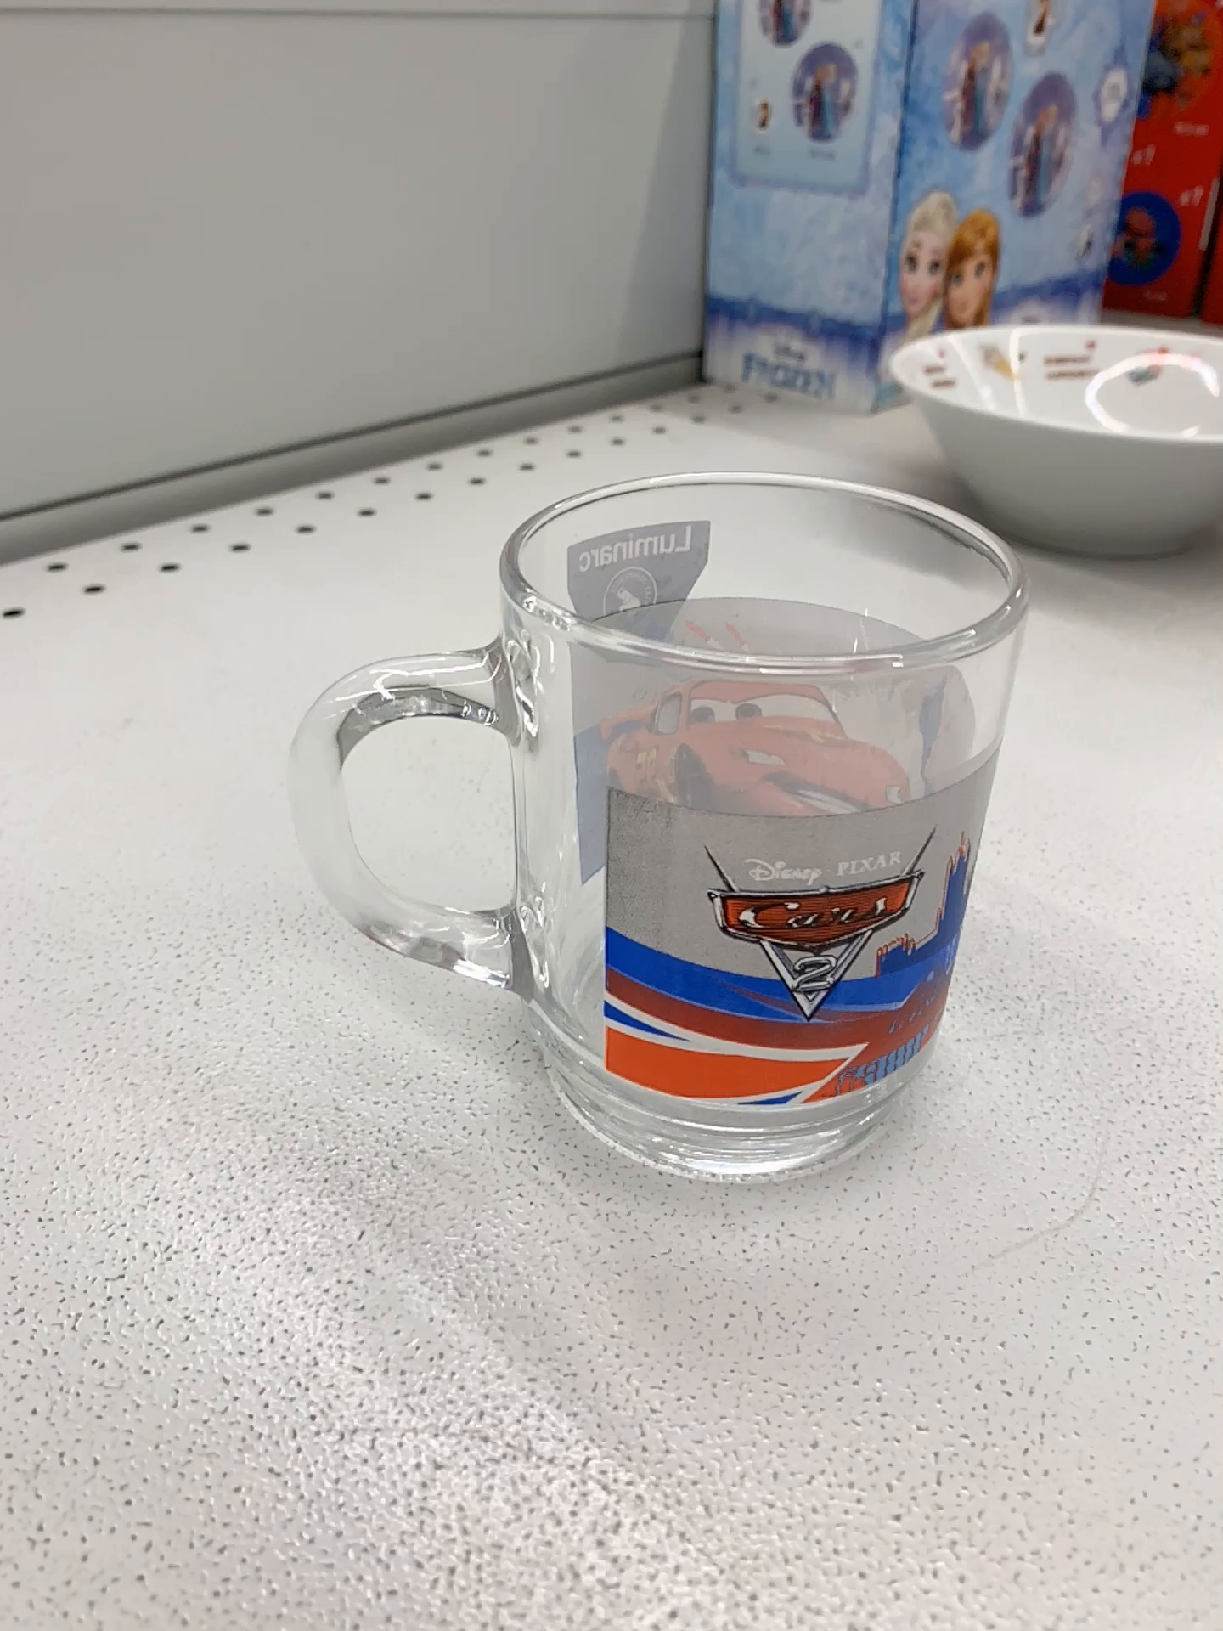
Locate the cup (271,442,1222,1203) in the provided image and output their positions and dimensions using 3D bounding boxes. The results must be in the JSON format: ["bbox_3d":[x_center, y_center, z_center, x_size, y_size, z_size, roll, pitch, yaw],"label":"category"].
[{"bbox_3d":[0.013,-0.003,0.186,0.101,0.081,0.072,-2,32,-4],"label":"cup"}]
